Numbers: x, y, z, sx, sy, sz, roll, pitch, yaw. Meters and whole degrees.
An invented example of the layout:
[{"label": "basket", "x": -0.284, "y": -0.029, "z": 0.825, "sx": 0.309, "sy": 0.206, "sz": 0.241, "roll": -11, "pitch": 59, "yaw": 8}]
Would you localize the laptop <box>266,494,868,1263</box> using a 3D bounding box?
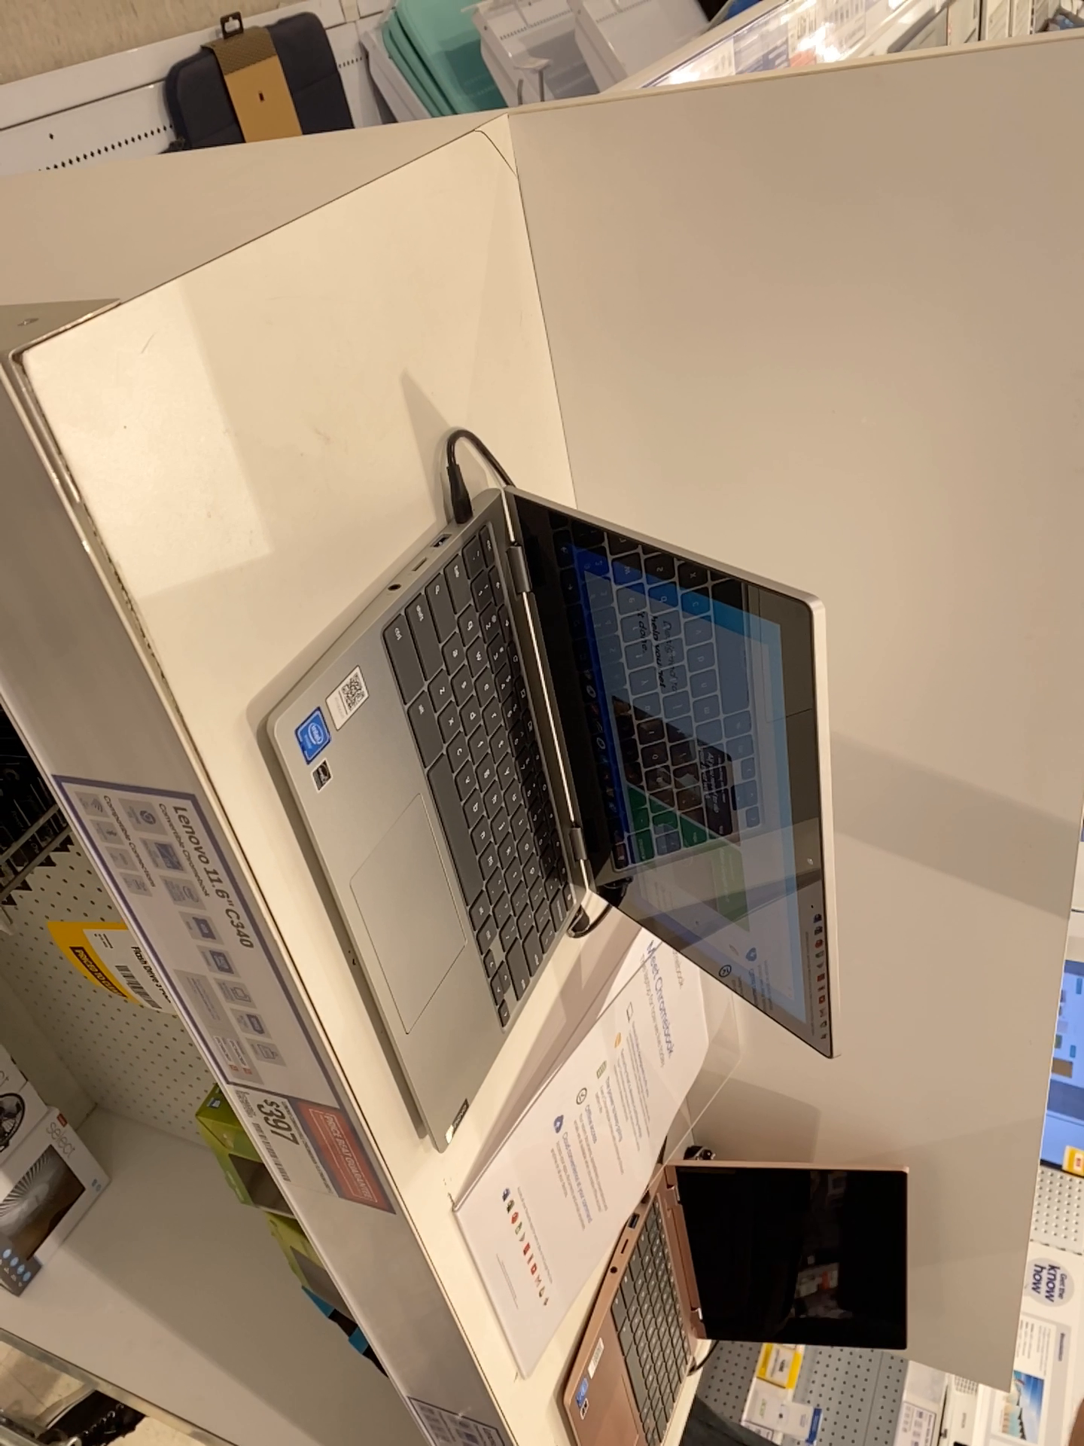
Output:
[{"label": "laptop", "x": 0.042, "y": 0.066, "z": 0.540, "sx": 0.201, "sy": 0.180, "sz": 0.284, "roll": -54, "pitch": 142, "yaw": -44}]
